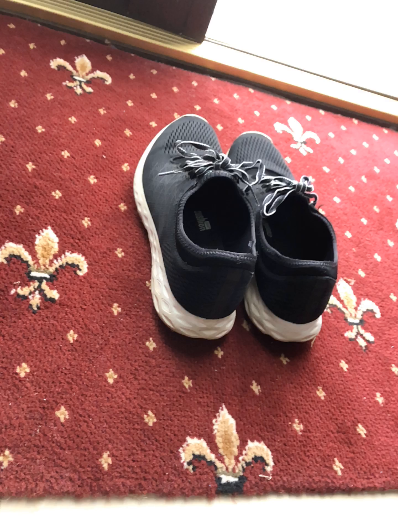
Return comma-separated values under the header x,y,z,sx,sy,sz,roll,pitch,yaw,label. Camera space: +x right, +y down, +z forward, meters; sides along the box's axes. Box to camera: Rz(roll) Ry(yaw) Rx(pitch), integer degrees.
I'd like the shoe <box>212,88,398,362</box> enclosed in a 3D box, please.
x,y,z,sx,sy,sz,roll,pitch,yaw,label
0.091,-0.052,0.465,0.100,0.109,0.271,9,50,-17,shoe

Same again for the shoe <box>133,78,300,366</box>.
x,y,z,sx,sy,sz,roll,pitch,yaw,label
-0.002,-0.051,0.439,0.100,0.109,0.271,7,51,-18,shoe
